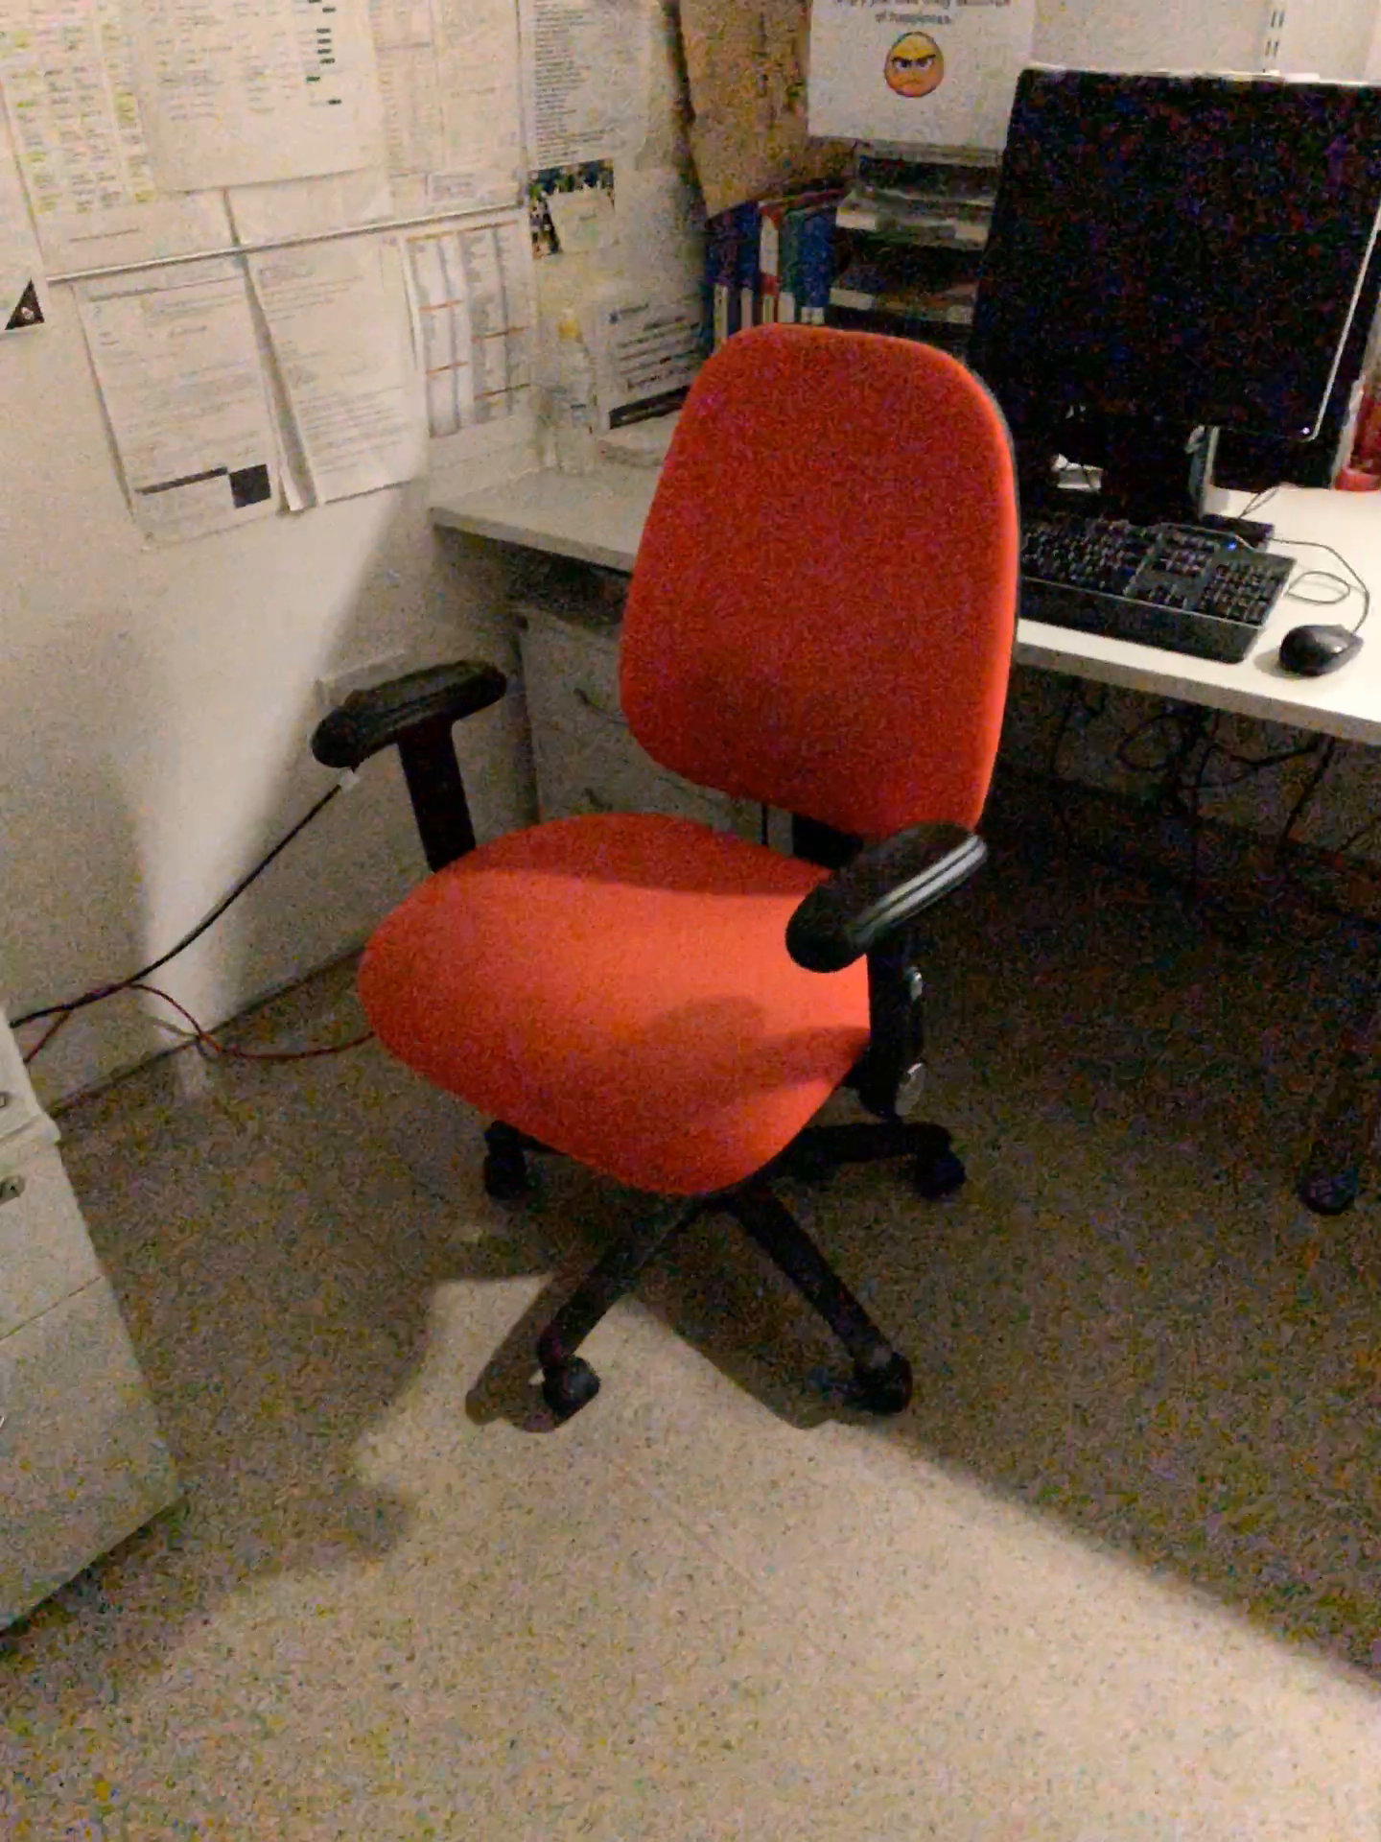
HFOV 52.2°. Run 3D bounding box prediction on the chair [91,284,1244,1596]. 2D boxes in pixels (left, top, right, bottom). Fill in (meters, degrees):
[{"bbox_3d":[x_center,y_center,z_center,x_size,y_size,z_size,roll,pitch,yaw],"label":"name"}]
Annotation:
[{"bbox_3d":[0.024,-0.034,1.375,0.672,0.921,0.655,18,39,26],"label":"chair"}]
